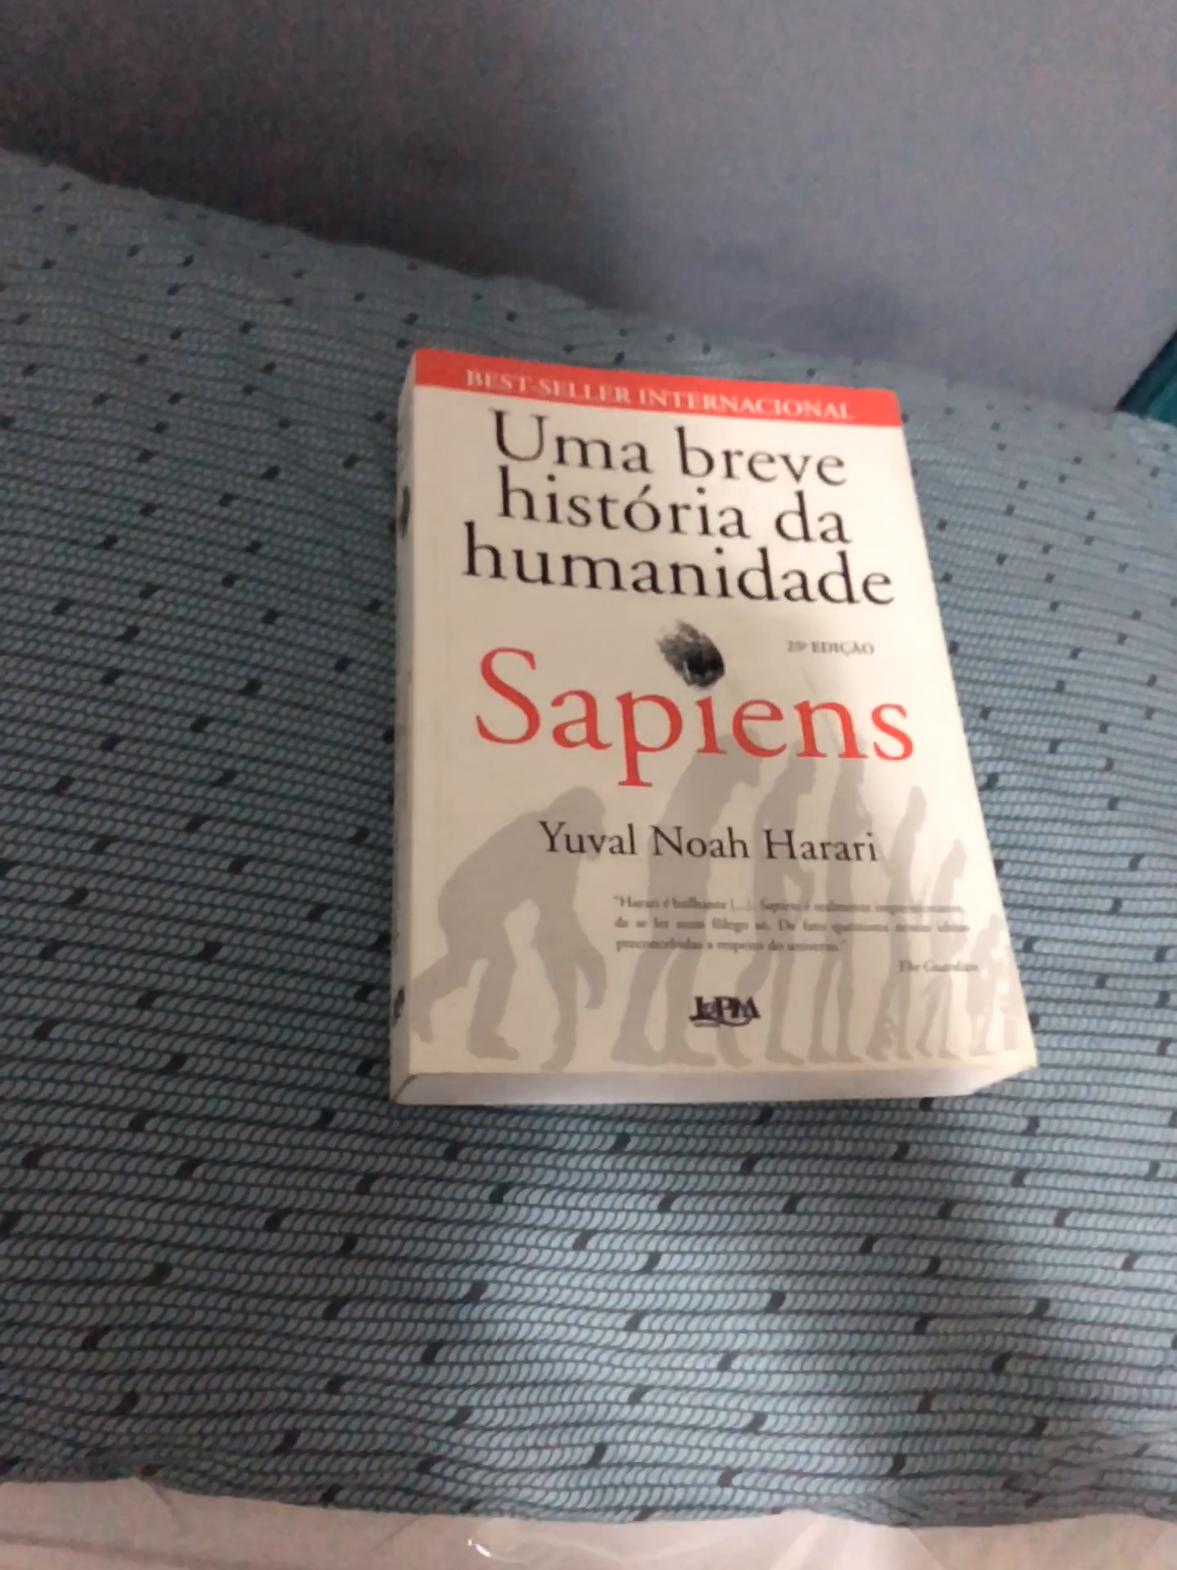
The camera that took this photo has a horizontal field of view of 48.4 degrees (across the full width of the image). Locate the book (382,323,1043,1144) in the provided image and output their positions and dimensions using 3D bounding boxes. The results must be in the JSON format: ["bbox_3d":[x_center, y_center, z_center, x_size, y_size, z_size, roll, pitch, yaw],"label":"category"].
[{"bbox_3d":[0.023,-0.023,0.381,0.160,0.040,0.241,2,62,-12],"label":"book"}]
